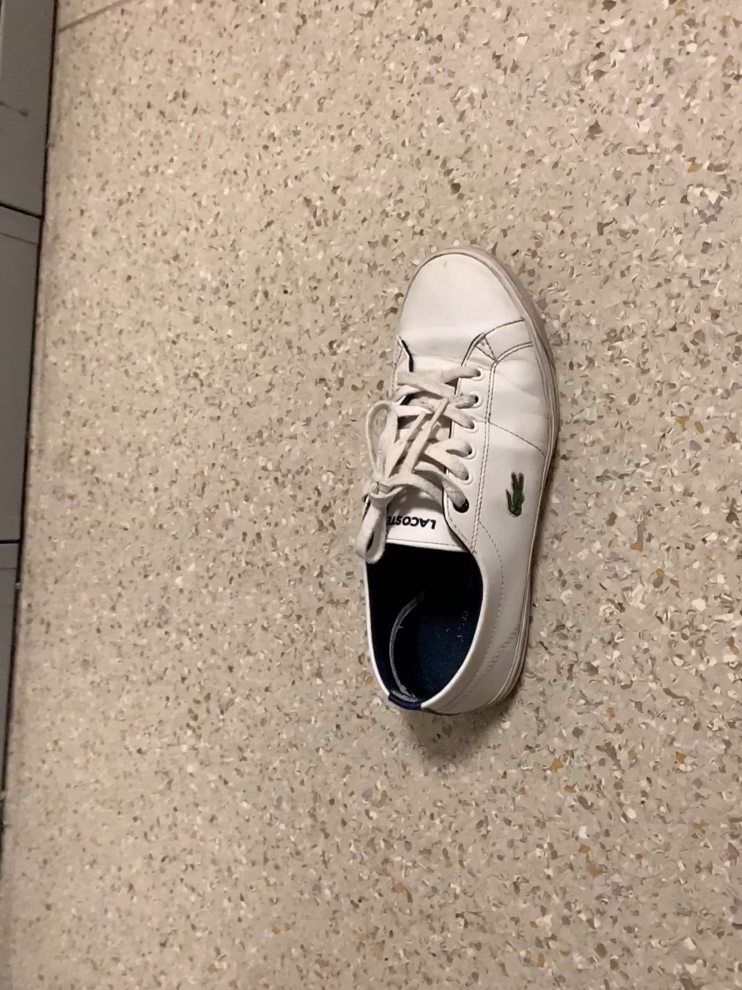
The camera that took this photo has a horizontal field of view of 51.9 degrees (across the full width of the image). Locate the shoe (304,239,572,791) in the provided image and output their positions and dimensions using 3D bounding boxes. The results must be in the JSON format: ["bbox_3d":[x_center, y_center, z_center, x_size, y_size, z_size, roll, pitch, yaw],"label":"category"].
[{"bbox_3d":[0.037,0.008,0.411,0.101,0.089,0.250,3,90,36],"label":"shoe"}]
